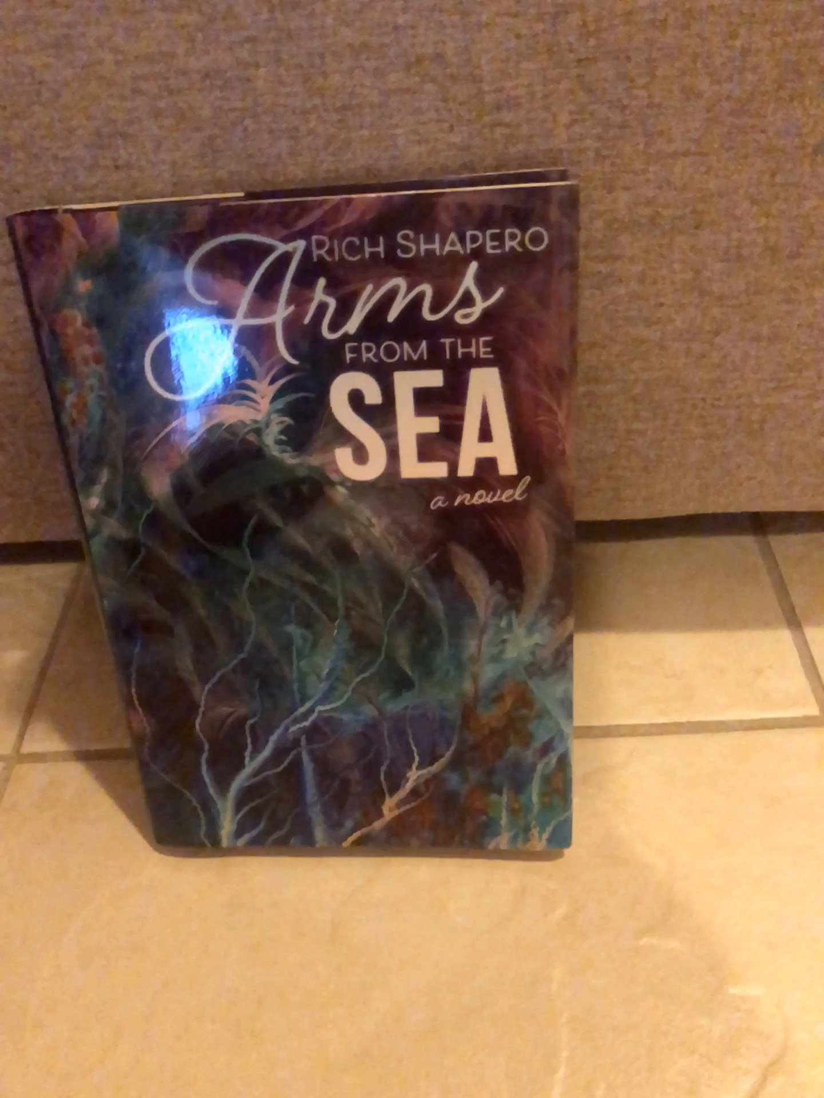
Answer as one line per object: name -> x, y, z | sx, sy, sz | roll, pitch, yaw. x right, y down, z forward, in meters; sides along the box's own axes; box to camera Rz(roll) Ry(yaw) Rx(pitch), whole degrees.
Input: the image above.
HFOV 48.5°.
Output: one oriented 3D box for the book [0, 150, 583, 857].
book -> -0.027, 0.001, 0.295 | 0.156, 0.227, 0.030 | -2, 25, 5
